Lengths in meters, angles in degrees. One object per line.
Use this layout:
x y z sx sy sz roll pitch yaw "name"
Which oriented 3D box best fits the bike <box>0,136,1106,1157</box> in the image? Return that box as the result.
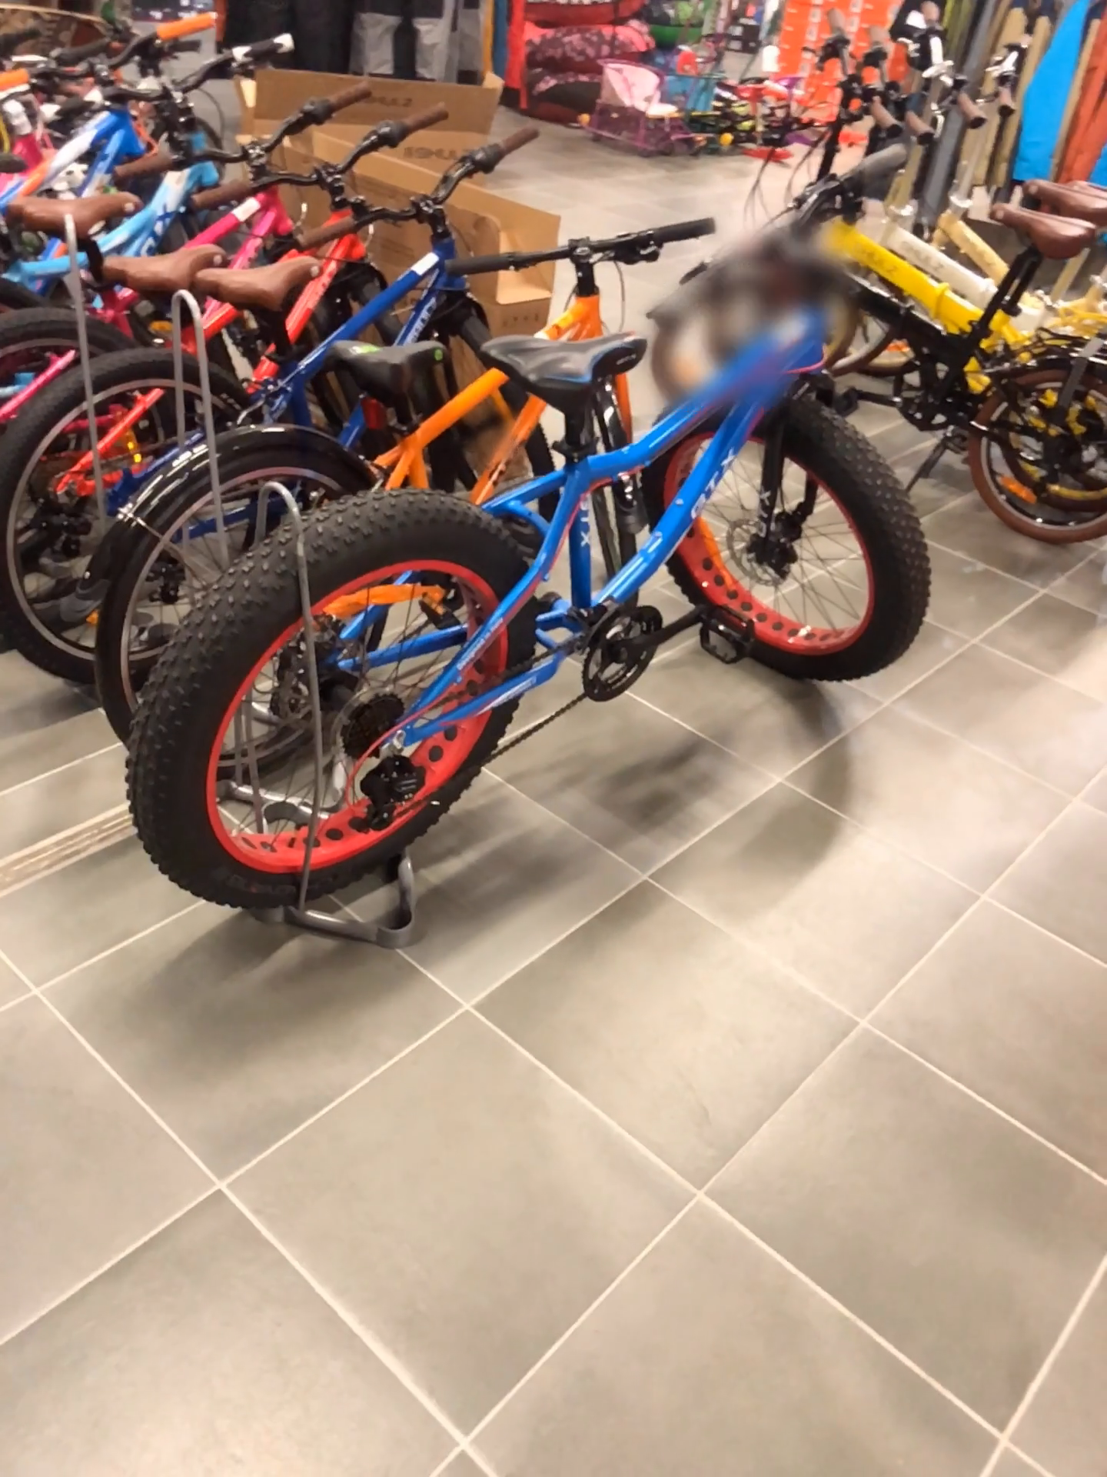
0.092 -0.290 1.854 0.615 1.023 1.472 31 39 29 "bike"
